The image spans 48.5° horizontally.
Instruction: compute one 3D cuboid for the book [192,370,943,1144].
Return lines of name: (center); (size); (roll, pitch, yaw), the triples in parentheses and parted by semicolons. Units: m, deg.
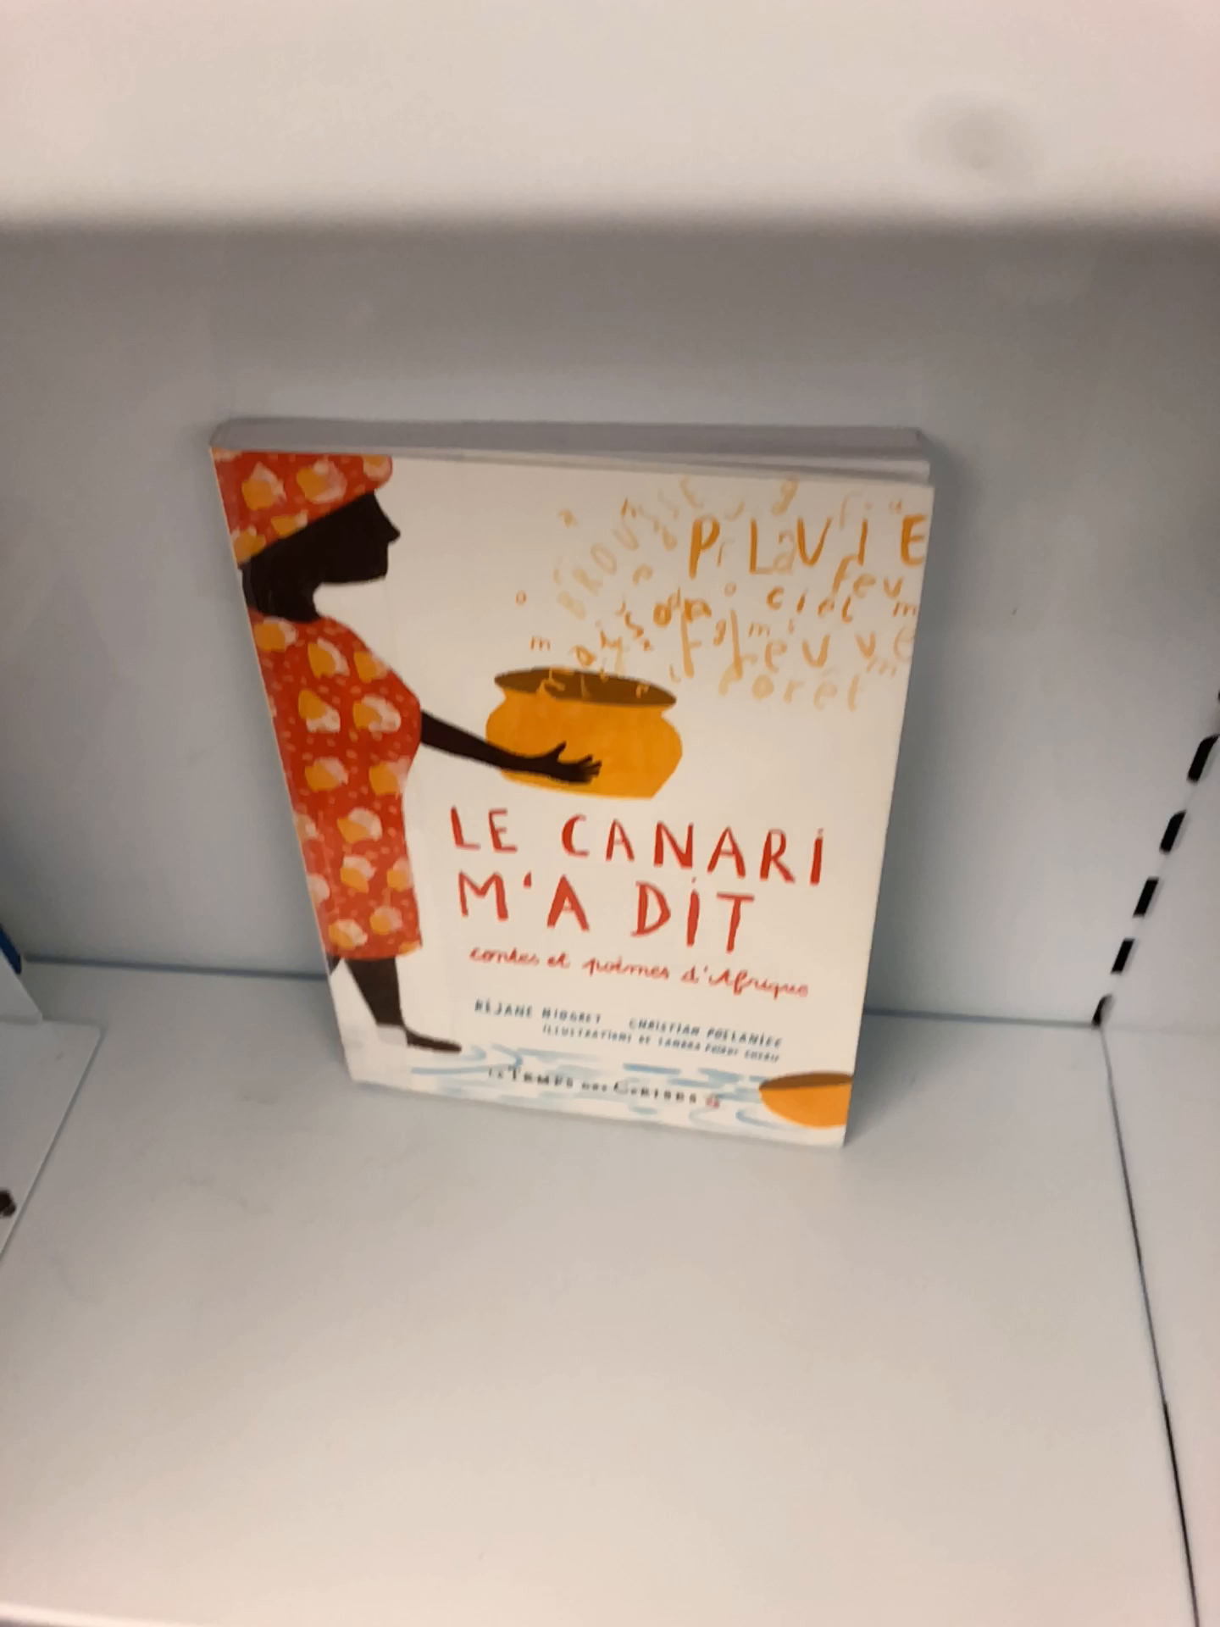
book: (-0.007, -0.003, 0.341); (0.149, 0.199, 0.037); (5, 40, 8)
